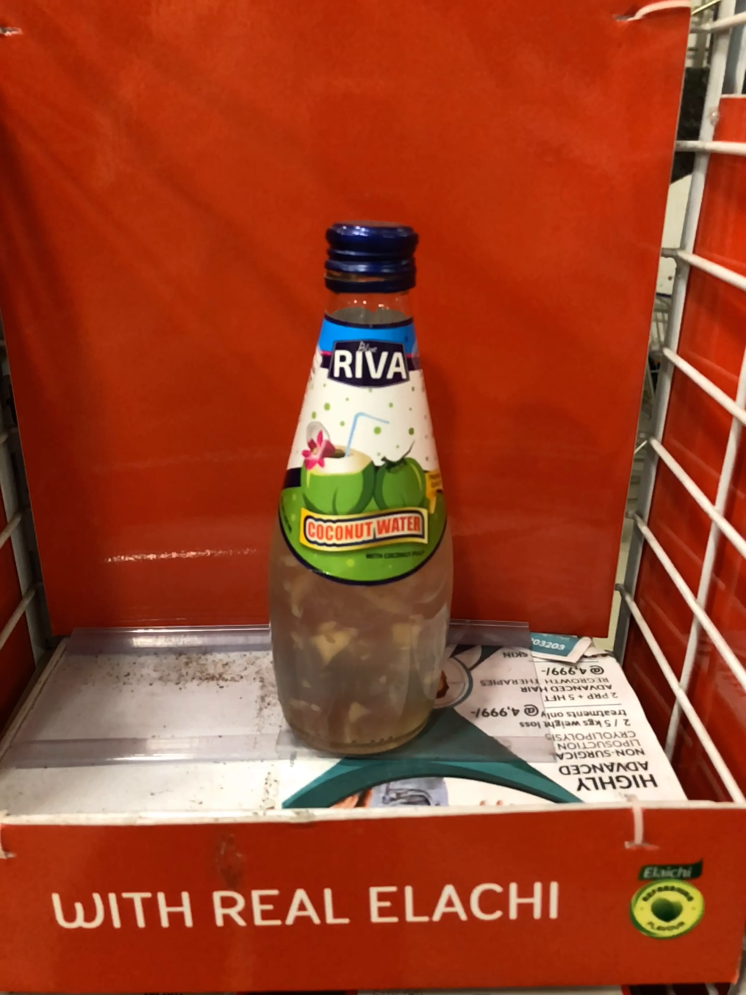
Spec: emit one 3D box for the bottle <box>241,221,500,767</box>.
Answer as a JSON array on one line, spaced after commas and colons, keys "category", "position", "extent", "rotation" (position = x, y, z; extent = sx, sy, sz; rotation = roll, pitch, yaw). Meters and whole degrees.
[{"category": "bottle", "position": [-0.003, 0.002, 0.286], "extent": [0.070, 0.179, 0.060], "rotation": [0, 24, -2]}]
